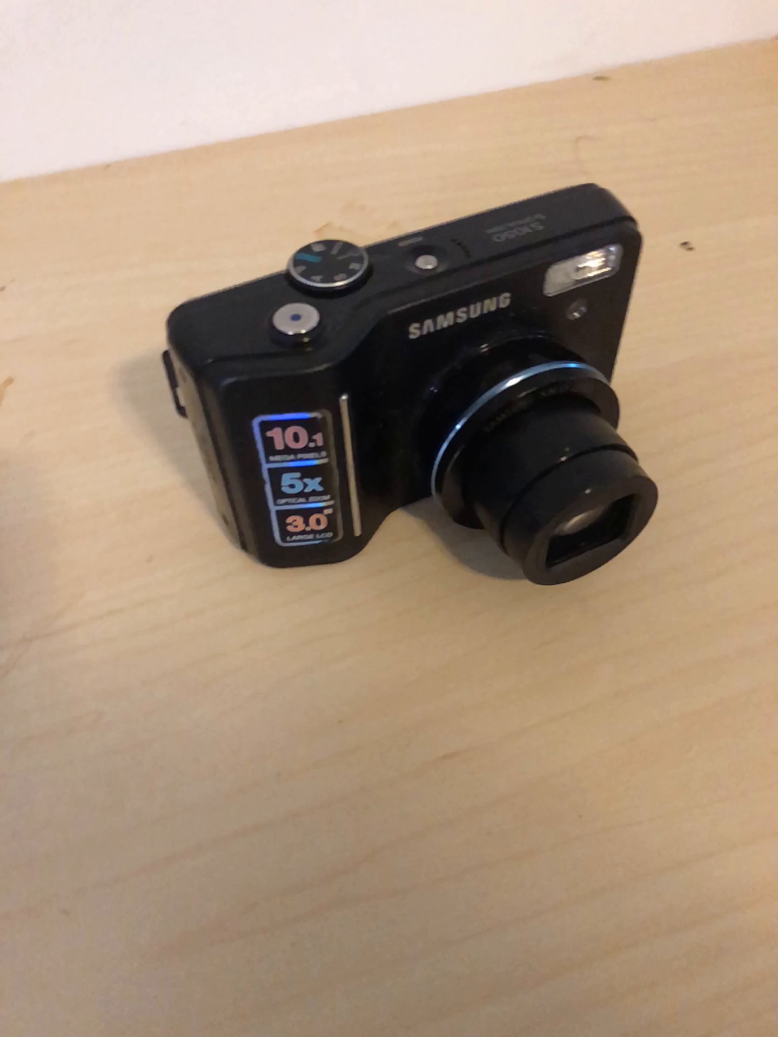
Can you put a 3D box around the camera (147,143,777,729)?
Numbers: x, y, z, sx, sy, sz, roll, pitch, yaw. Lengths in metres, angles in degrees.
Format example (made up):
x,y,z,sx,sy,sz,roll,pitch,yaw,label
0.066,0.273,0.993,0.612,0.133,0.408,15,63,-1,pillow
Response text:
x,y,z,sx,sy,sz,roll,pitch,yaw,label
0.018,-0.020,0.191,0.110,0.070,0.070,-21,56,-13,camera
